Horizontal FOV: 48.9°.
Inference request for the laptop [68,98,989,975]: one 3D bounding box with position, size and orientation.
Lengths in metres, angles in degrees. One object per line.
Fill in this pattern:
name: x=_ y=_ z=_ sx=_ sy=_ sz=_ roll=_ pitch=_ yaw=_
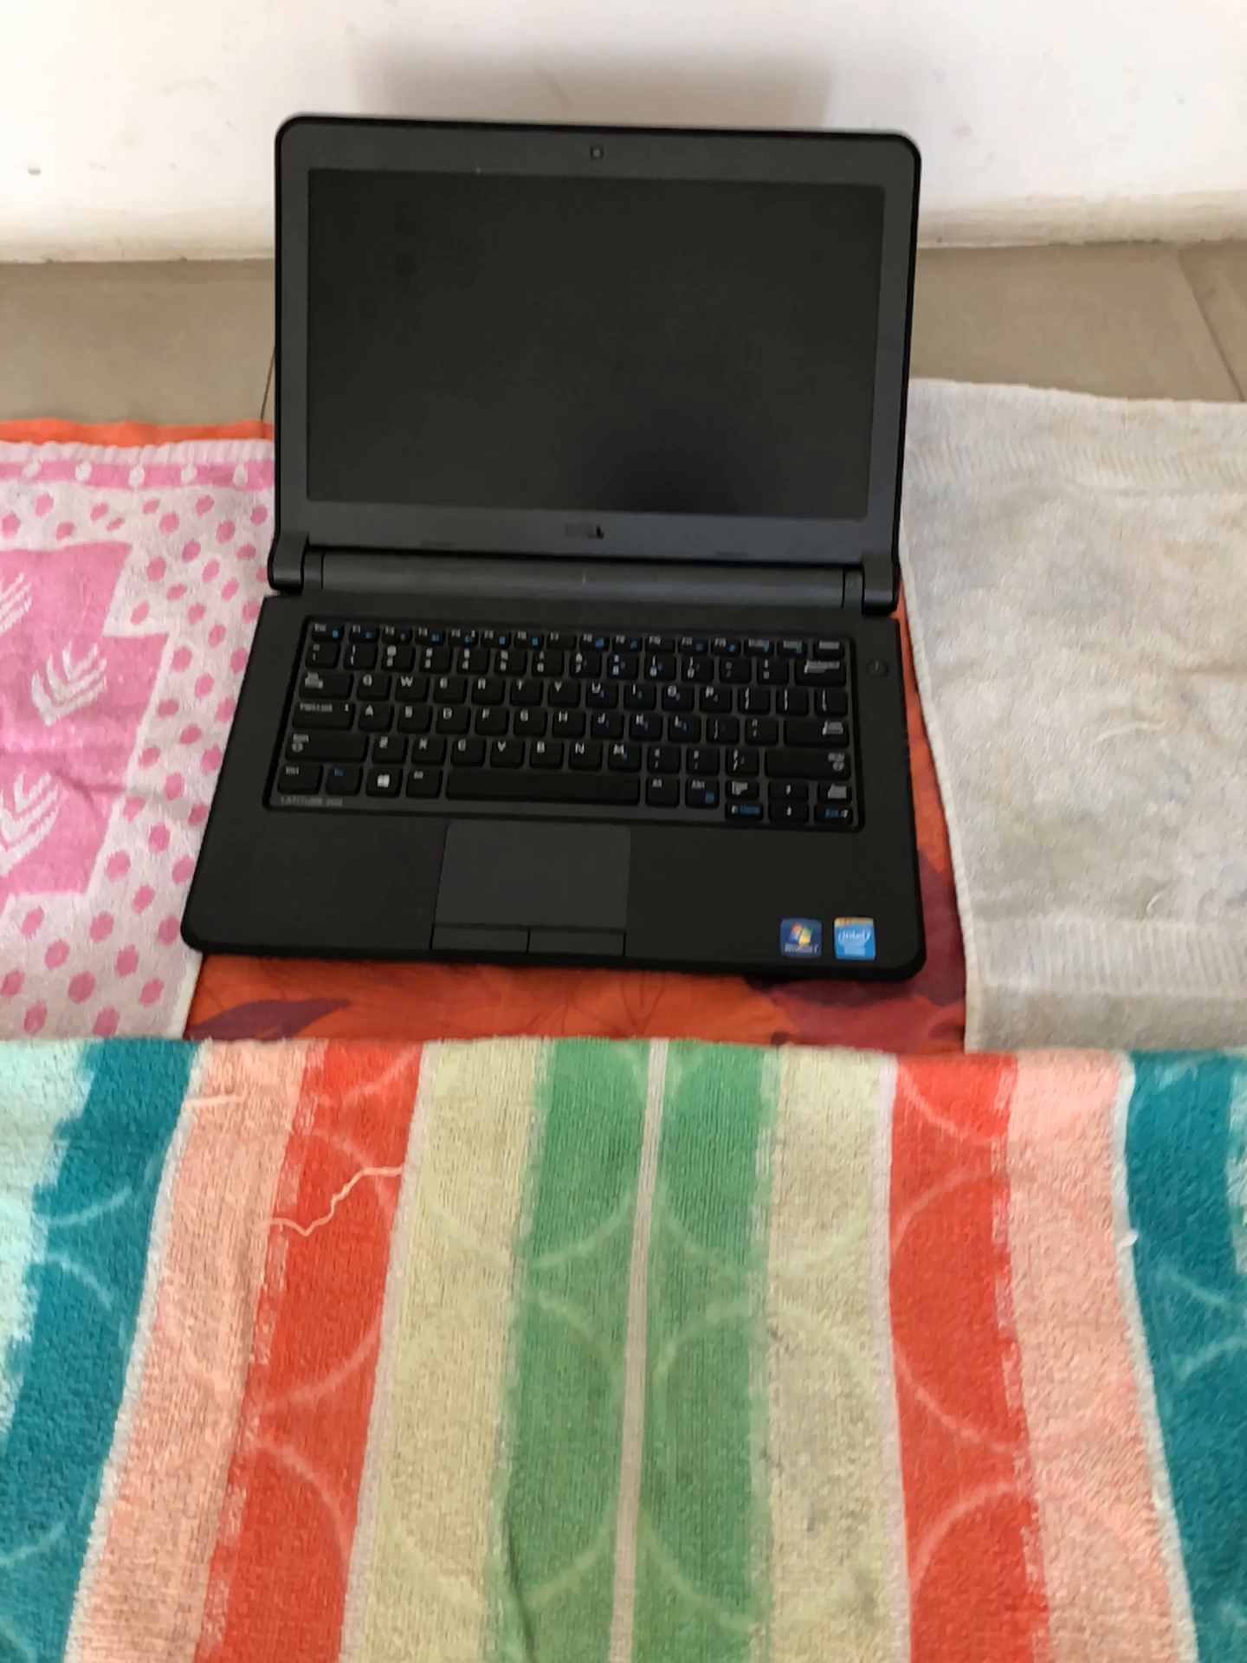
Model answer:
laptop: x=-0.022 y=-0.151 z=0.630 sx=0.313 sy=0.143 sz=0.393 roll=2 pitch=57 yaw=1
